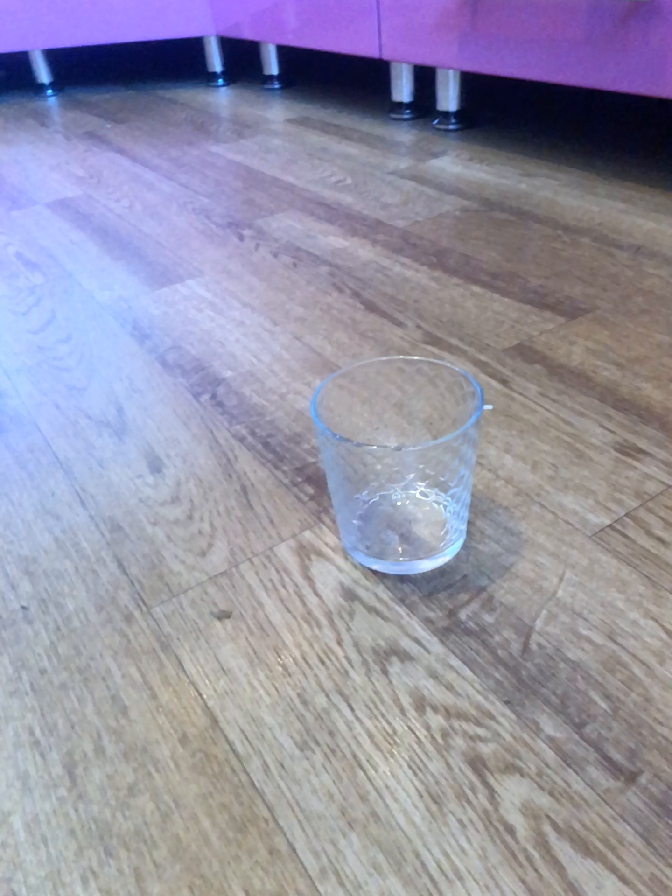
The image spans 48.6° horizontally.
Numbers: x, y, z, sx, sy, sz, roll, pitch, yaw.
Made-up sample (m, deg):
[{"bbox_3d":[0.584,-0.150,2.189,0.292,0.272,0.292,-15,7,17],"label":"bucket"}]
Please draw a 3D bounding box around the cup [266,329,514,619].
[{"bbox_3d":[0.026,0.009,0.362,0.080,0.090,0.080,-4,36,3],"label":"cup"}]
